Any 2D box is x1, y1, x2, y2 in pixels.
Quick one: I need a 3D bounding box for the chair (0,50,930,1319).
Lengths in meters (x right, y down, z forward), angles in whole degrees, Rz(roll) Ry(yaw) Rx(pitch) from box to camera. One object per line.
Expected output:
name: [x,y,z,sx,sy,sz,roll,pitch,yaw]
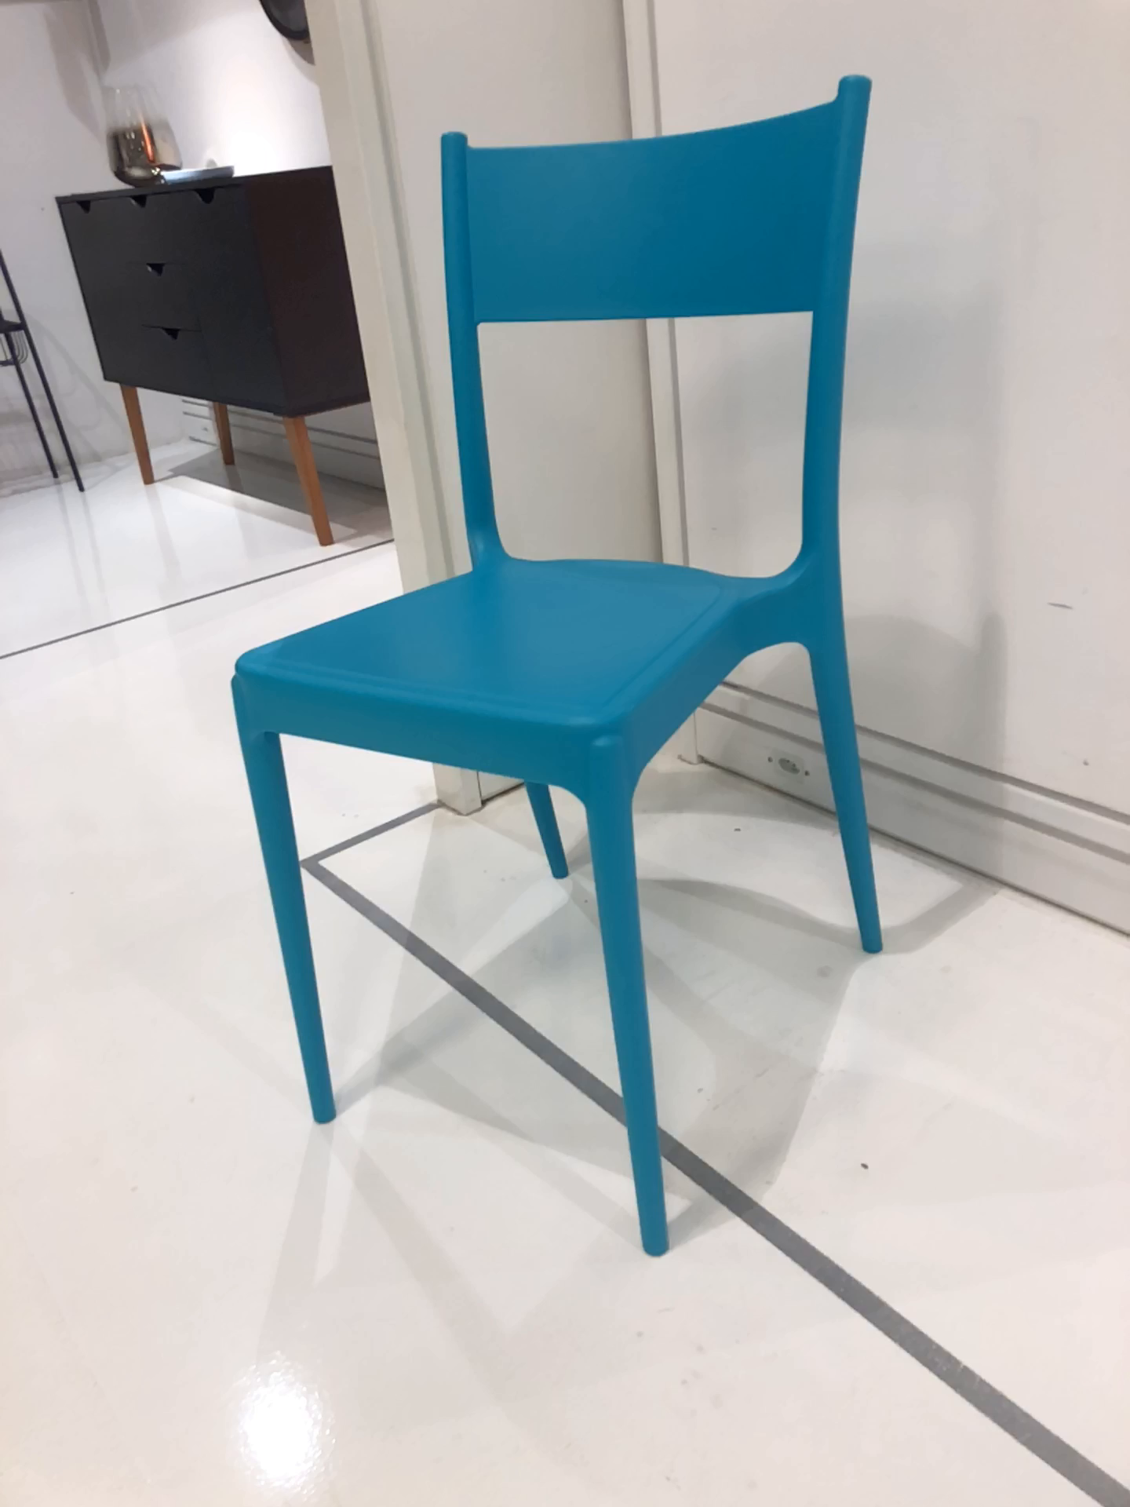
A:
chair: [-0.003,-0.095,1.023,0.431,0.794,0.513,11,30,34]
